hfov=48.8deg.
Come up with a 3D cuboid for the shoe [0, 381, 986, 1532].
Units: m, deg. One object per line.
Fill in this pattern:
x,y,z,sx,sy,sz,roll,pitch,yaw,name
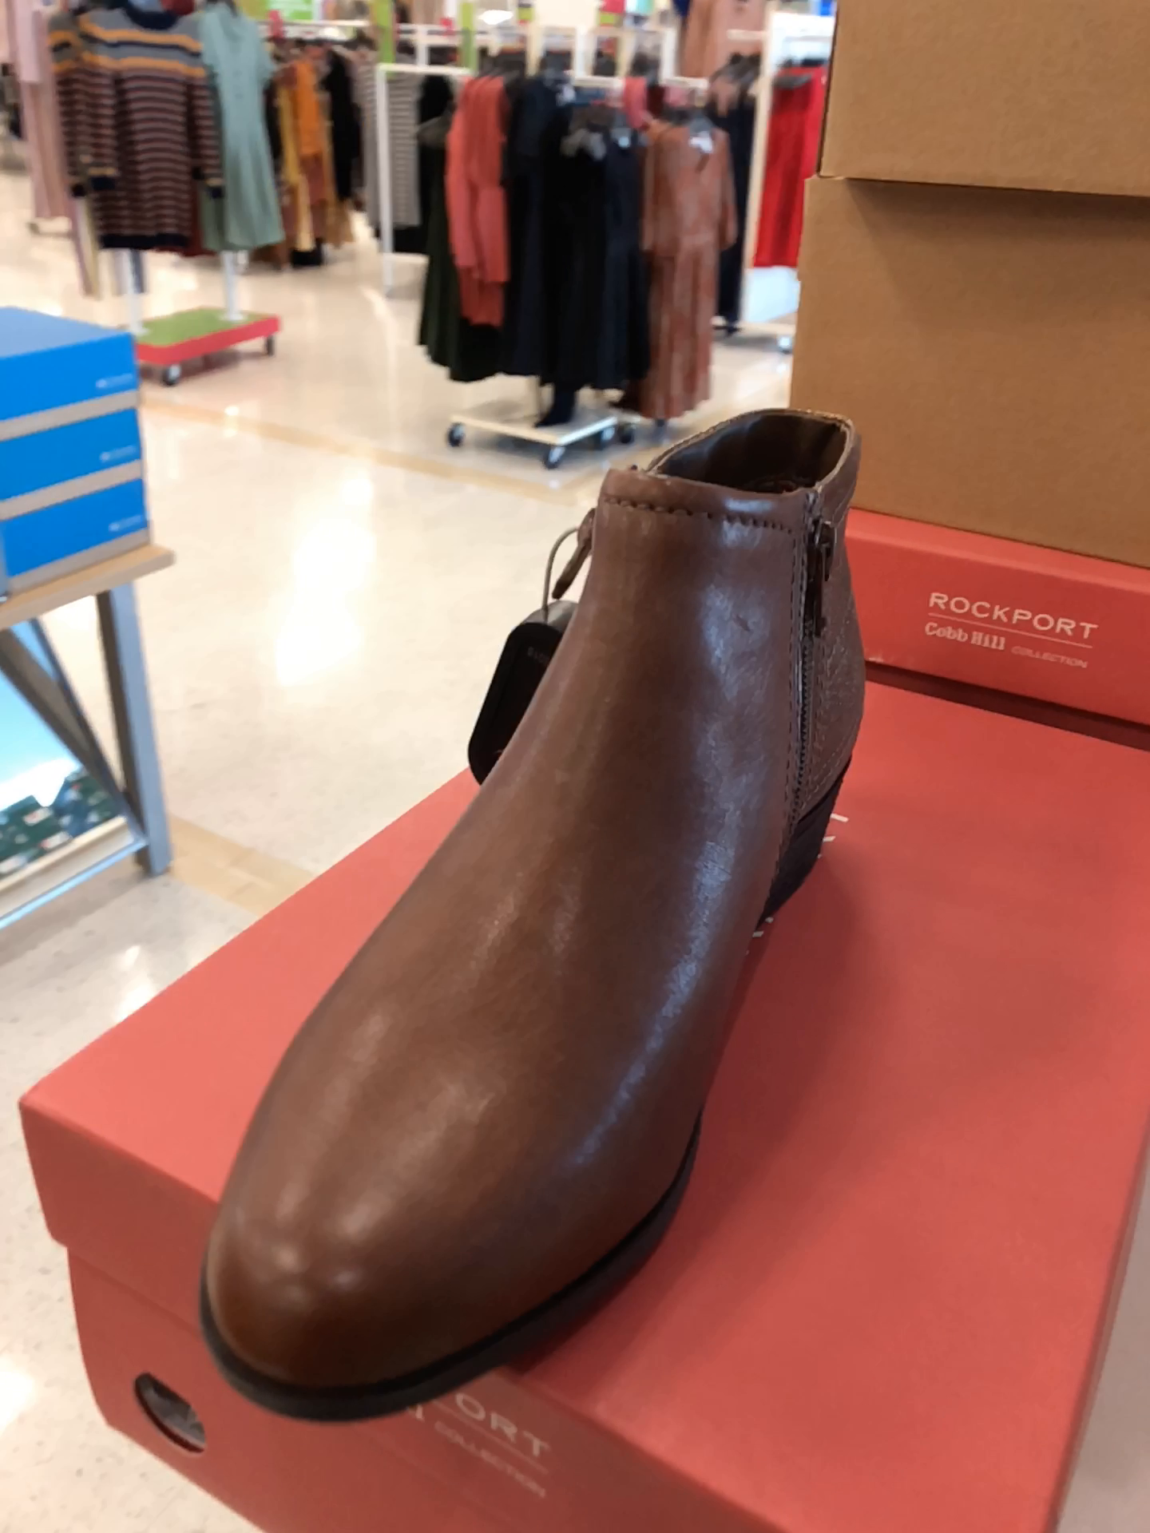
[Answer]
0.005,0.006,0.292,0.101,0.119,0.282,15,32,22,shoe
